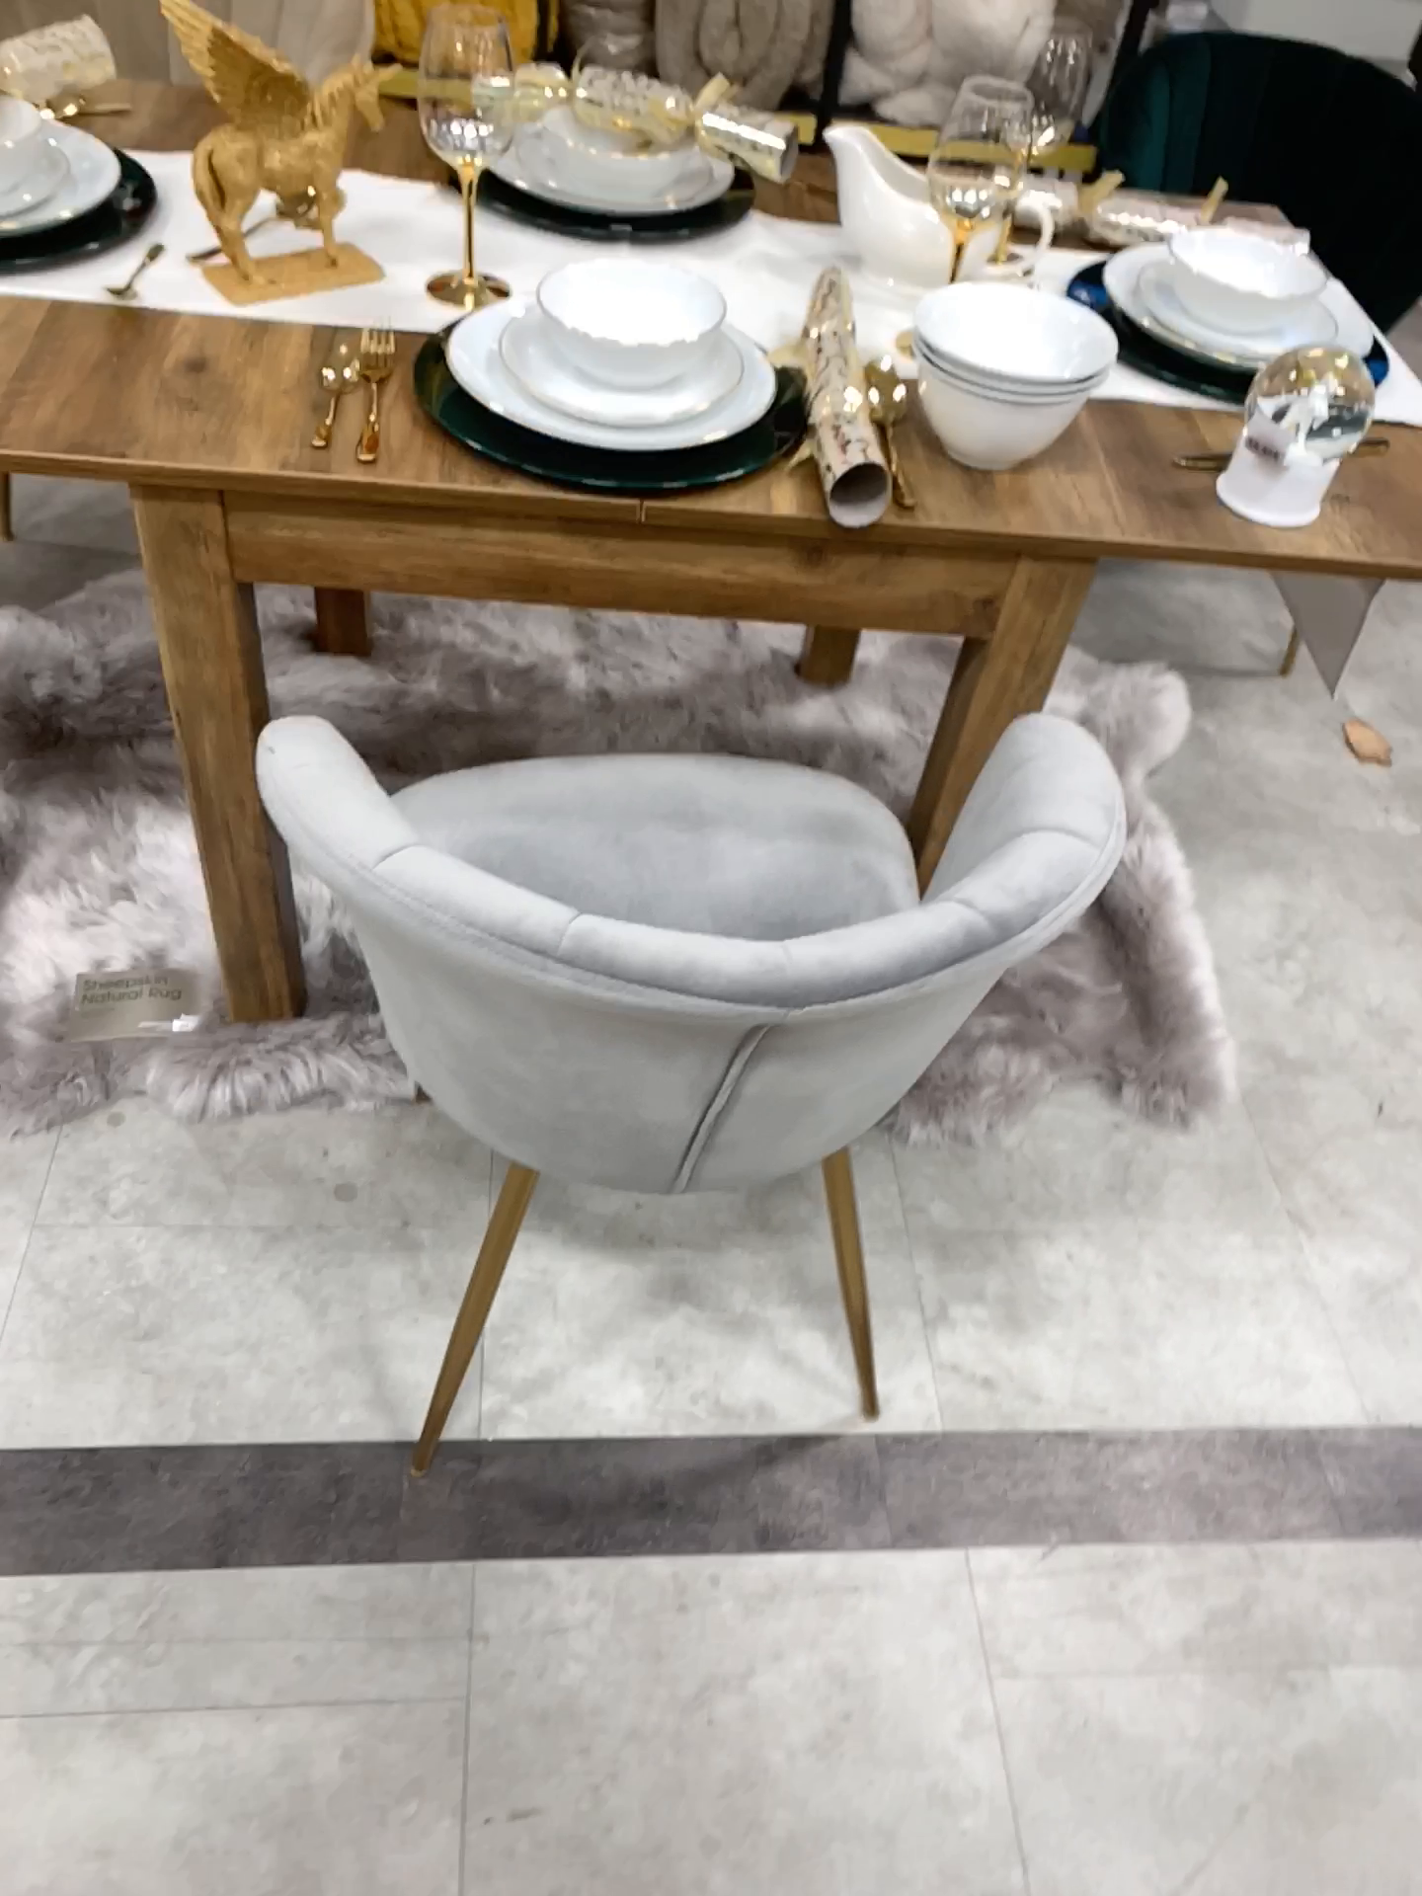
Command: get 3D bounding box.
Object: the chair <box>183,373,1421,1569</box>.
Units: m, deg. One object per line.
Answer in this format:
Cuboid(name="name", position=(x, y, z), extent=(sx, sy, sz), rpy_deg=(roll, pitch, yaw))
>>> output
Cuboid(name="chair", position=(-0.005, 0.038, 1.137), extent=(0.631, 0.709, 0.555), rpy_deg=(-2, 47, -11))
